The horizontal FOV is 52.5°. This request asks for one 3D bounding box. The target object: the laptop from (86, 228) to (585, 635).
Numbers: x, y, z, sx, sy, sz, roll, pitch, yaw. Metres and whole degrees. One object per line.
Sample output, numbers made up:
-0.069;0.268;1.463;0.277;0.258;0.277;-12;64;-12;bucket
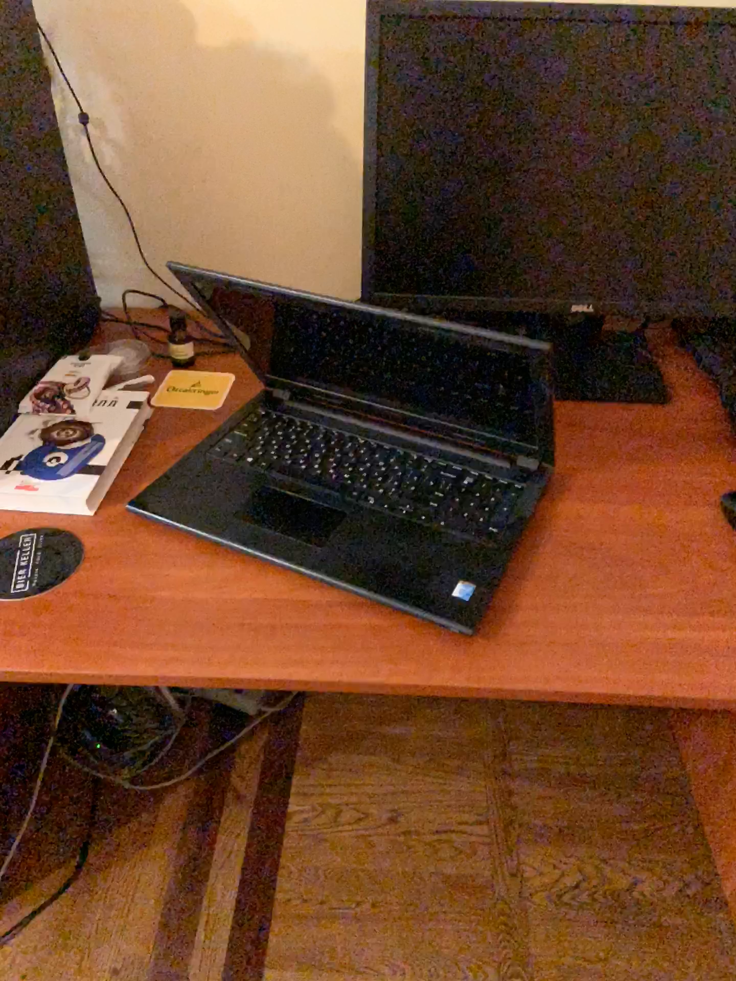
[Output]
-0.023;-0.081;0.727;0.374;0.202;0.247;17;42;20;laptop
